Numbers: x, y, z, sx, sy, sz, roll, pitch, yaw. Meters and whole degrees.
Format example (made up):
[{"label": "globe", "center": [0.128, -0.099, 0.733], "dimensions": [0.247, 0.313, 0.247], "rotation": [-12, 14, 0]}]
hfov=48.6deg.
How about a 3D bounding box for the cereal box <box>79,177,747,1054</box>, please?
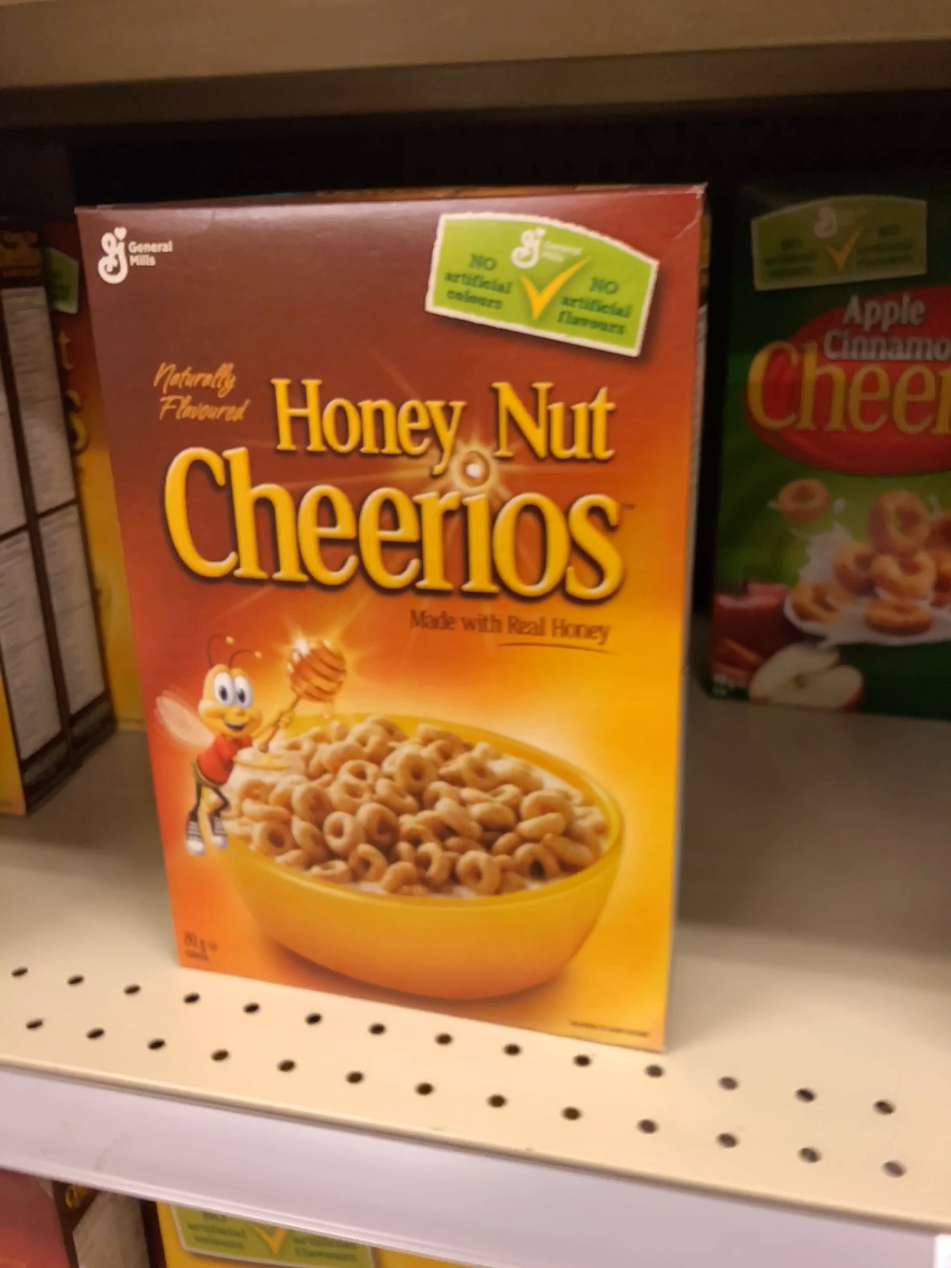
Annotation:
[{"label": "cereal box", "center": [-0.016, -0.005, 0.359], "dimensions": [0.190, 0.269, 0.060], "rotation": [5, 20, 15]}]
